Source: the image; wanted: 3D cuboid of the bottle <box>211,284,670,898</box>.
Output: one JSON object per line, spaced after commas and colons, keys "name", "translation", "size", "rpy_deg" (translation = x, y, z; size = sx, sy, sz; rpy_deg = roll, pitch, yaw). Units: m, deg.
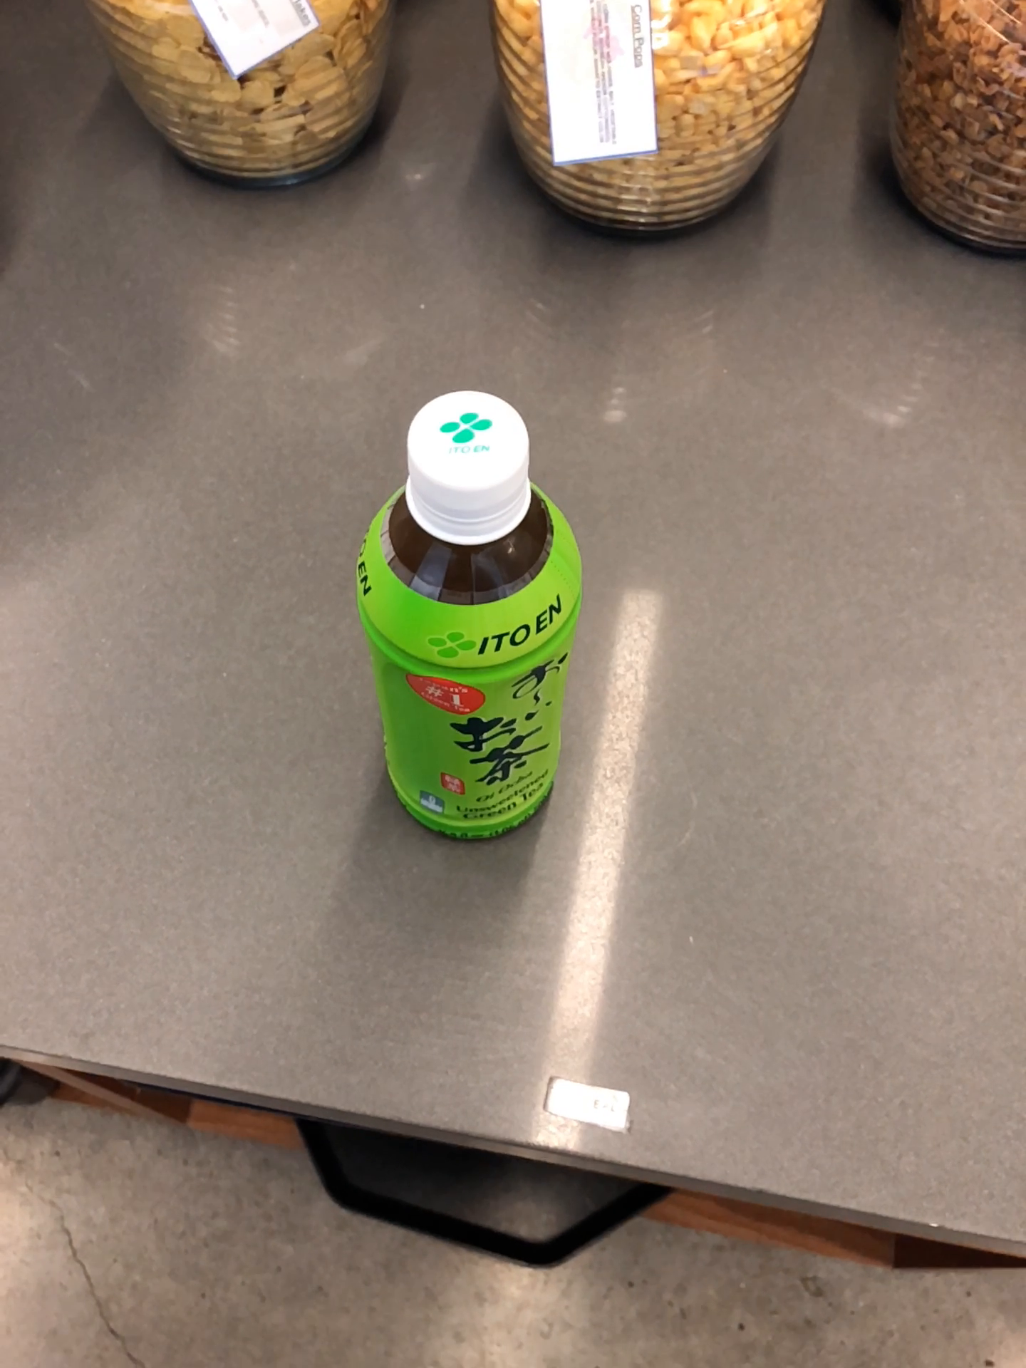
{"name": "bottle", "translation": [-0.019, -0.014, 0.366], "size": [0.080, 0.190, 0.080], "rpy_deg": [0, 63, -1]}
